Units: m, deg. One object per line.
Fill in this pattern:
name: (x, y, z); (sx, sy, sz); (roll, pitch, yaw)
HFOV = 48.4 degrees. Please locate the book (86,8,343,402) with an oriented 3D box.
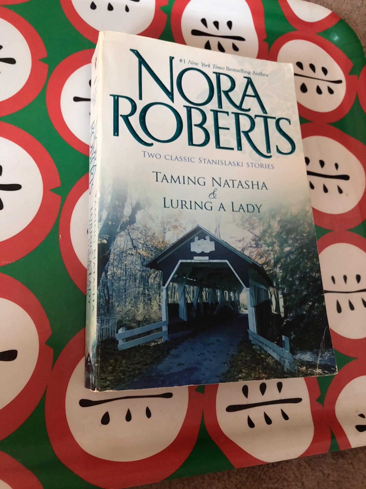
book: (0.015, -0.026, 0.256); (0.140, 0.040, 0.220); (2, 76, -17)
